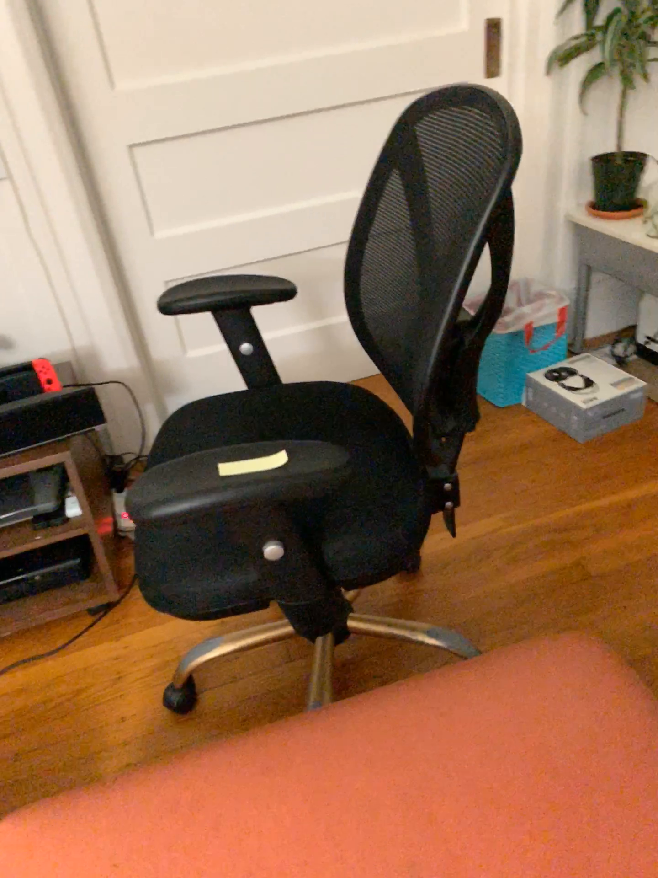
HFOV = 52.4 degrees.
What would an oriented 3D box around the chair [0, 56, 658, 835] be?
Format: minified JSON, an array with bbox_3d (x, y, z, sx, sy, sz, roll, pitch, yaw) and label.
[{"bbox_3d":[0.001,-0.002,1.054,0.660,0.974,0.644,-5,34,-4],"label":"chair"}]
